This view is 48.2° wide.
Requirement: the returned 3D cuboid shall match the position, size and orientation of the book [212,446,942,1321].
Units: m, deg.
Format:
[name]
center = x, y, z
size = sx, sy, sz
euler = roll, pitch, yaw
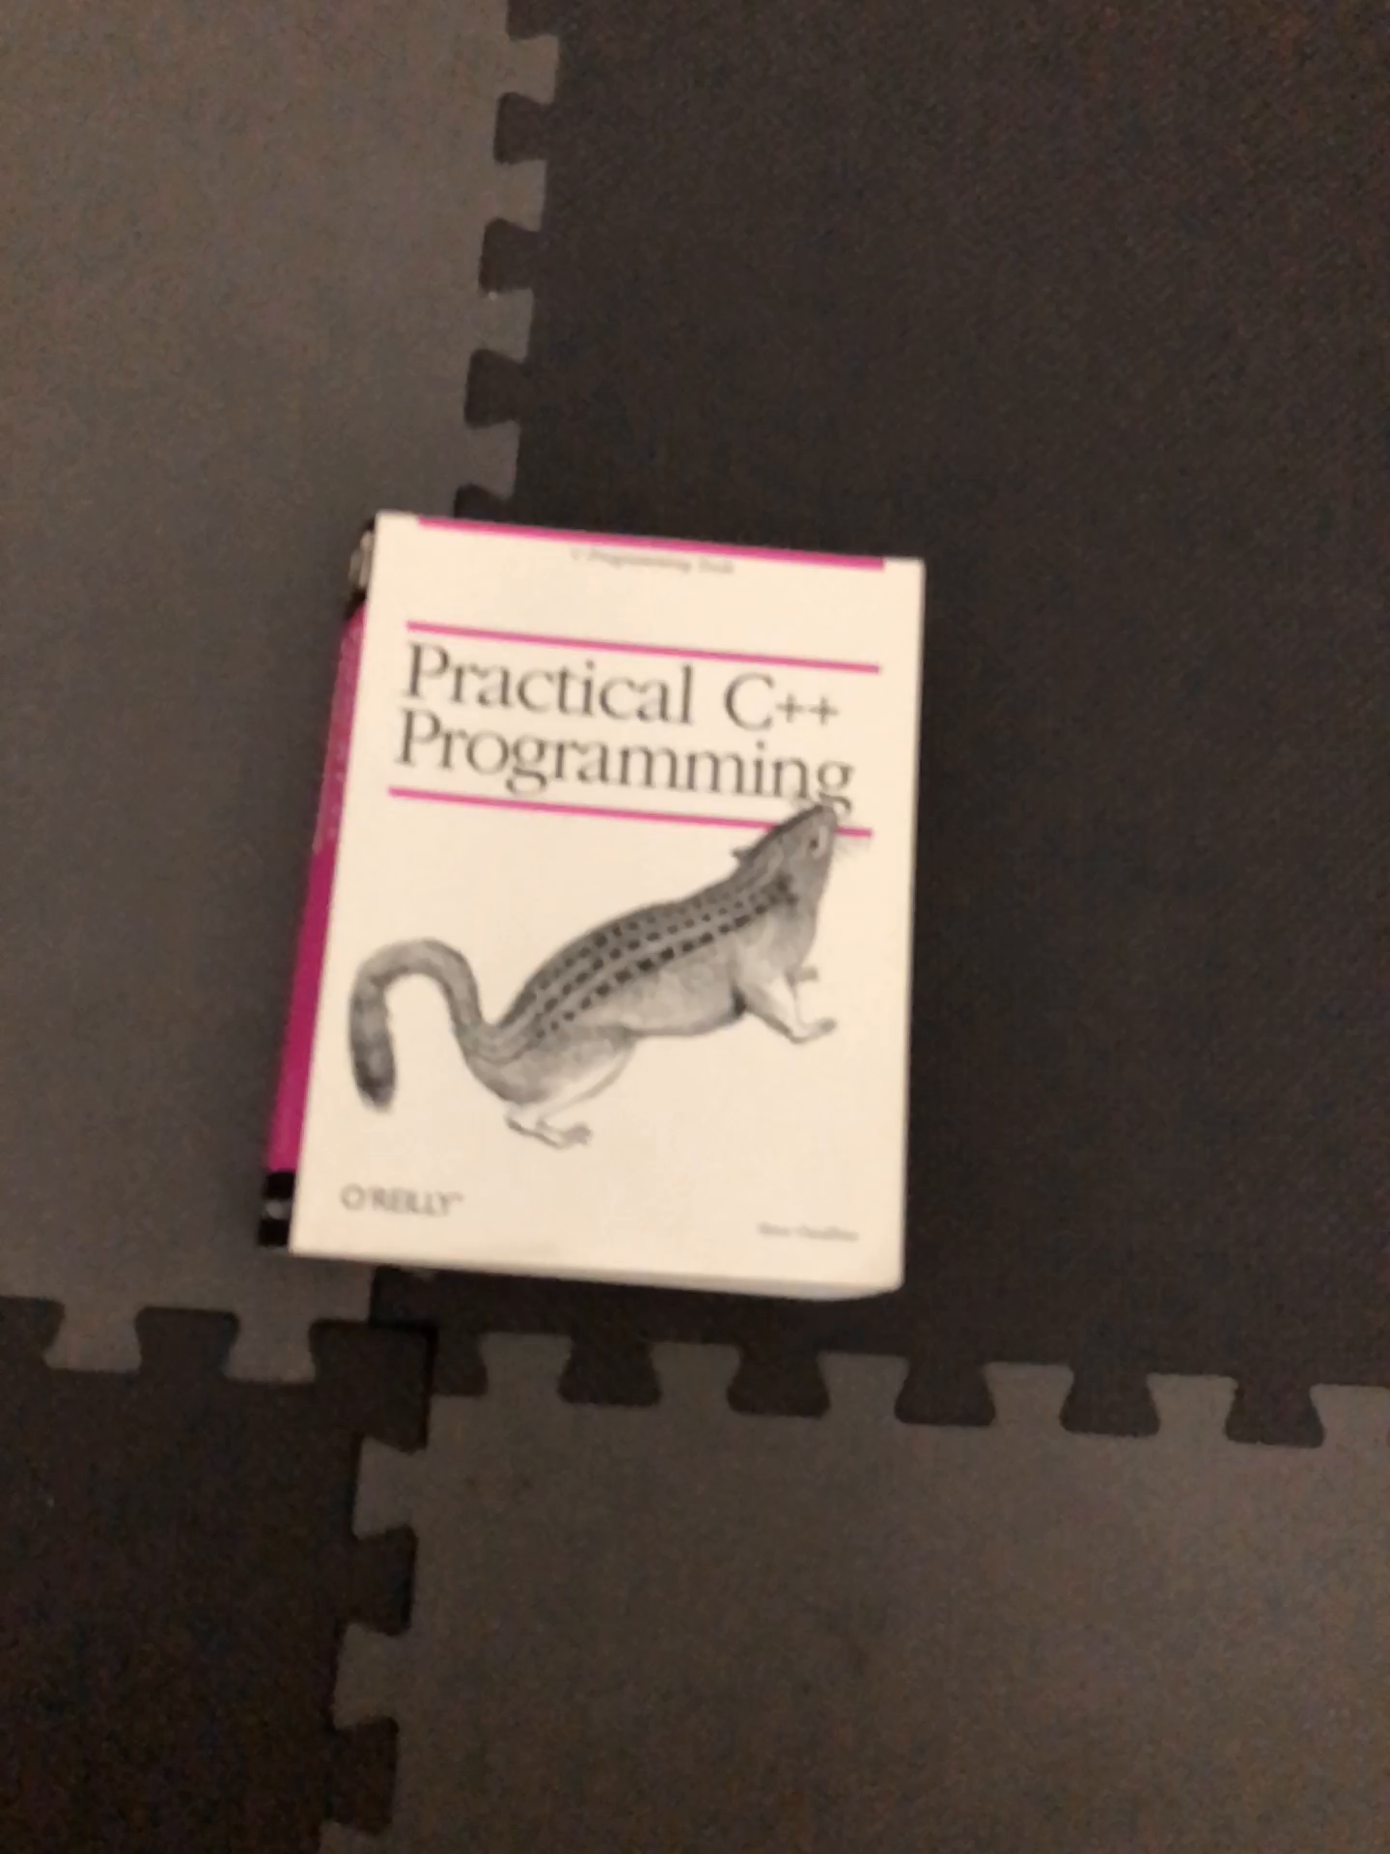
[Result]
[book]
center = -0.030, -0.011, 0.493
size = 0.200, 0.050, 0.250
euler = 6, 77, -9
